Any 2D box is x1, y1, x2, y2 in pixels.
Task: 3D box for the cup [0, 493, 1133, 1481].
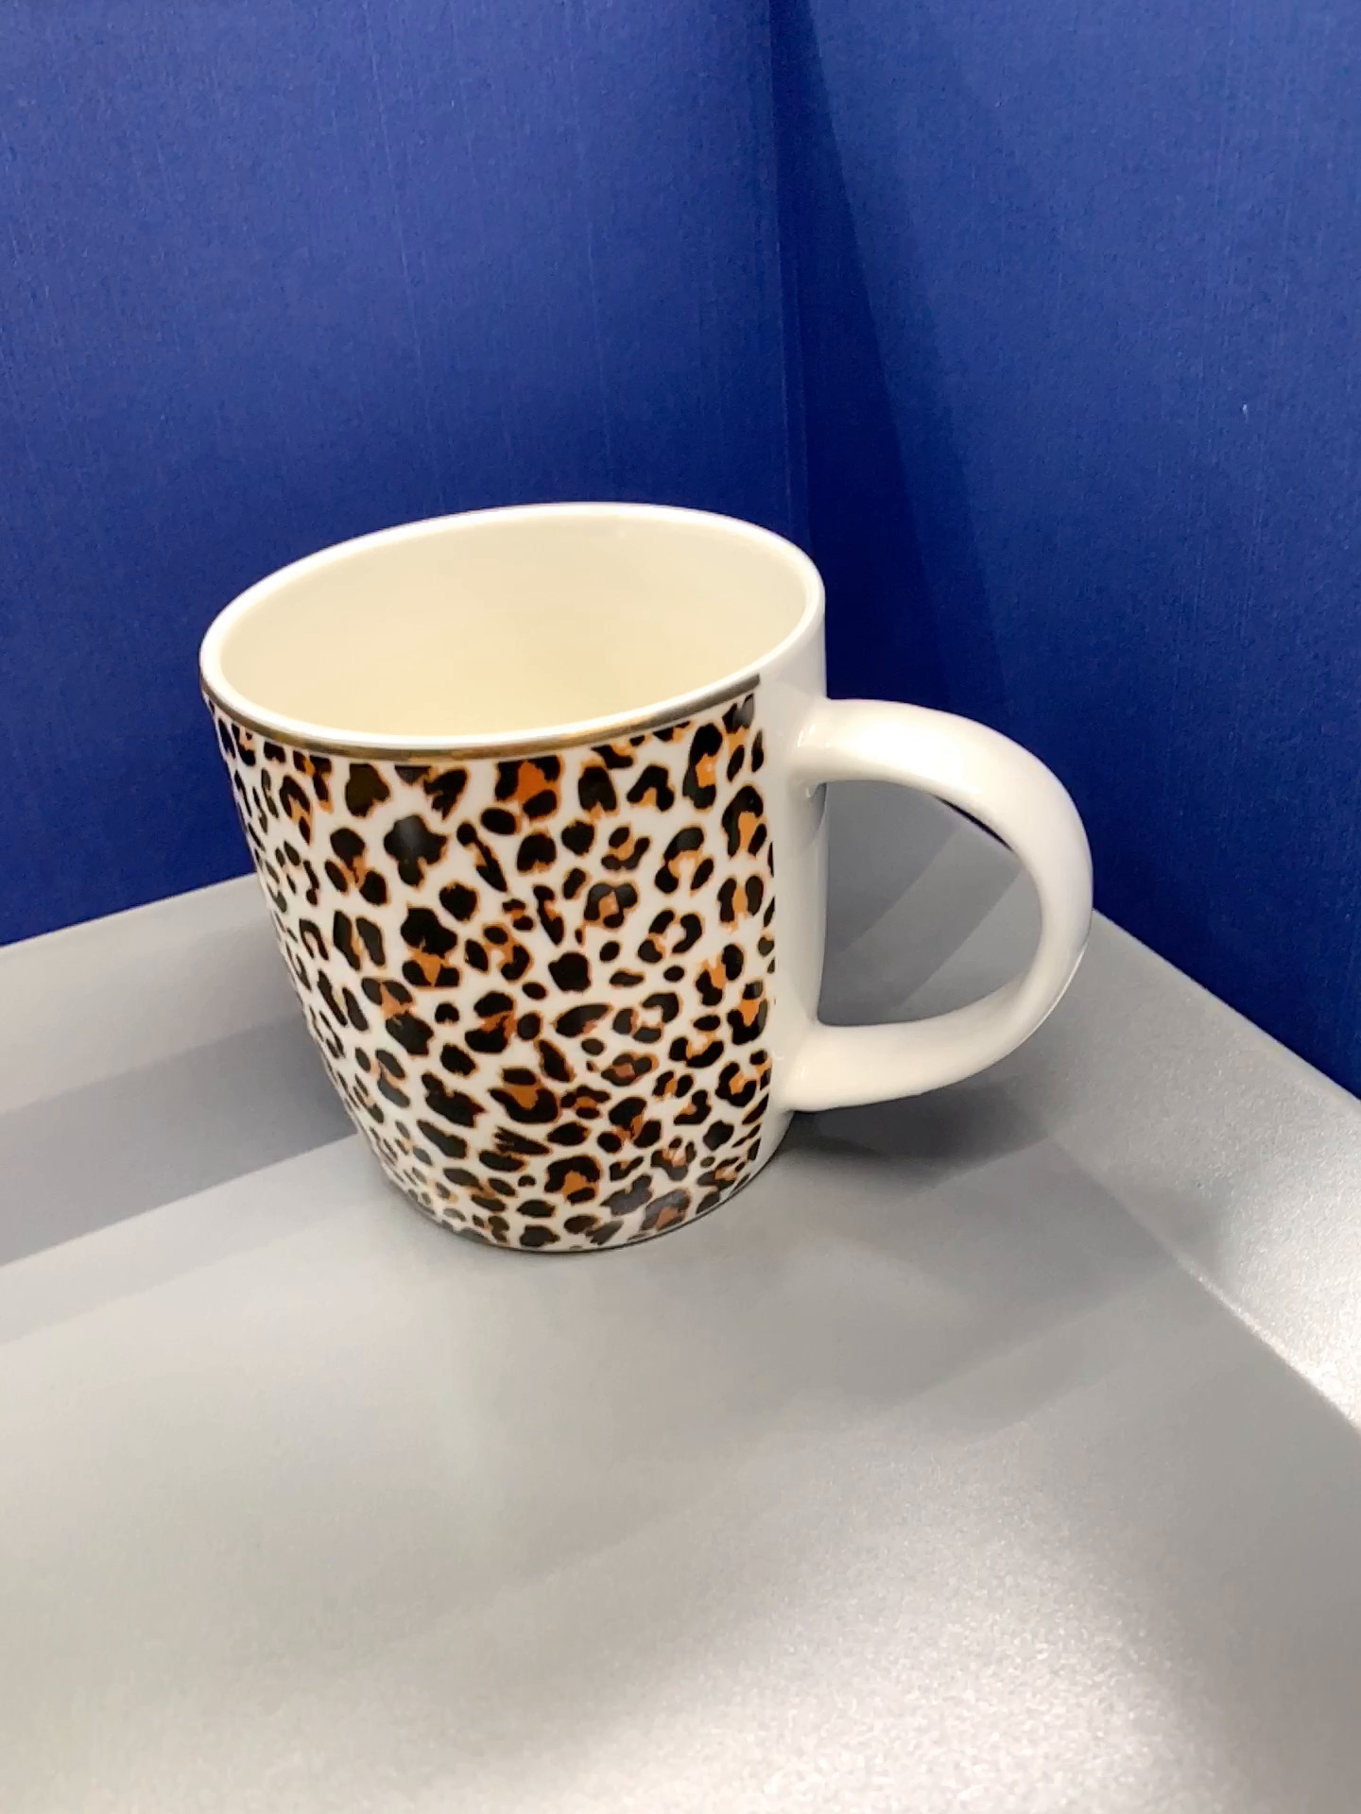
[{"bbox_3d":[-0.006,-0.001,0.219,0.126,0.095,0.099,8,33,22],"label":"cup"}]
